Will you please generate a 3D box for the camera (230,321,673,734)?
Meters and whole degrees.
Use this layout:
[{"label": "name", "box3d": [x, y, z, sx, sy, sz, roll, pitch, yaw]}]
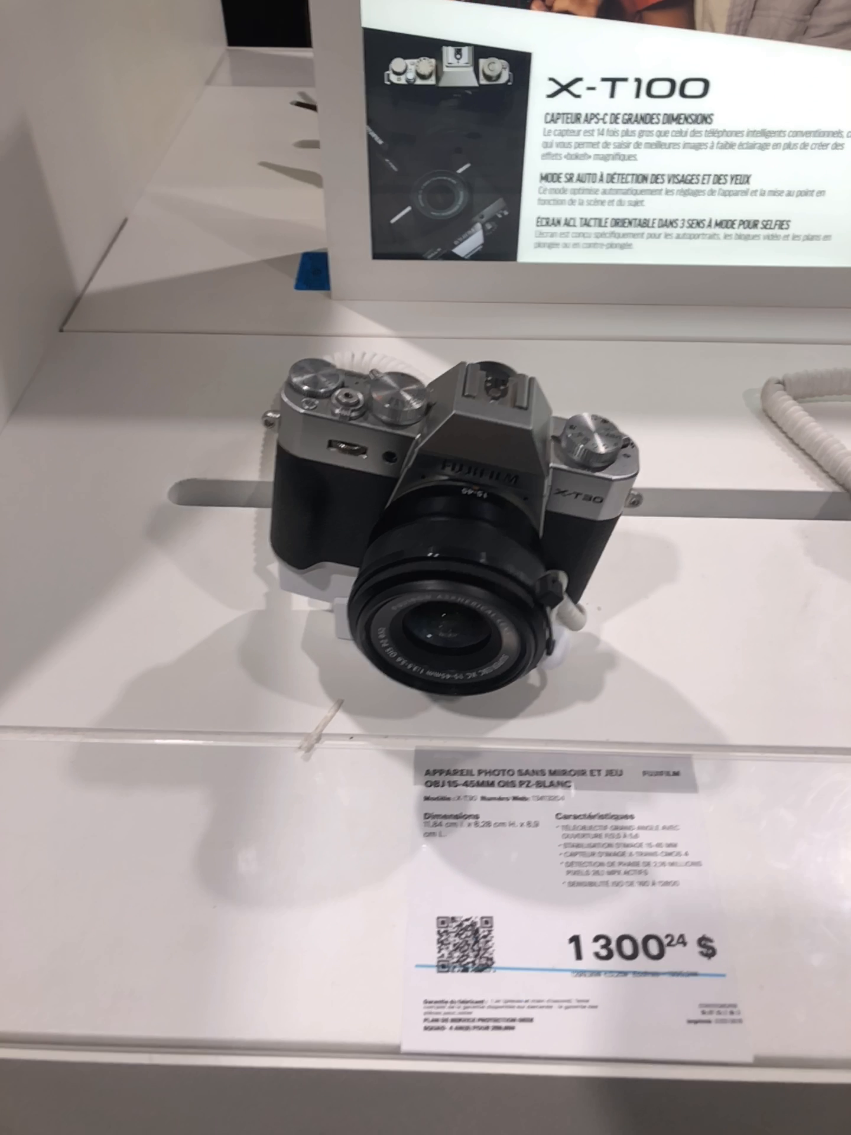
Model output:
[{"label": "camera", "box3d": [0.009, -0.015, 0.336, 0.130, 0.089, 0.091, 10, 44, 2]}]
